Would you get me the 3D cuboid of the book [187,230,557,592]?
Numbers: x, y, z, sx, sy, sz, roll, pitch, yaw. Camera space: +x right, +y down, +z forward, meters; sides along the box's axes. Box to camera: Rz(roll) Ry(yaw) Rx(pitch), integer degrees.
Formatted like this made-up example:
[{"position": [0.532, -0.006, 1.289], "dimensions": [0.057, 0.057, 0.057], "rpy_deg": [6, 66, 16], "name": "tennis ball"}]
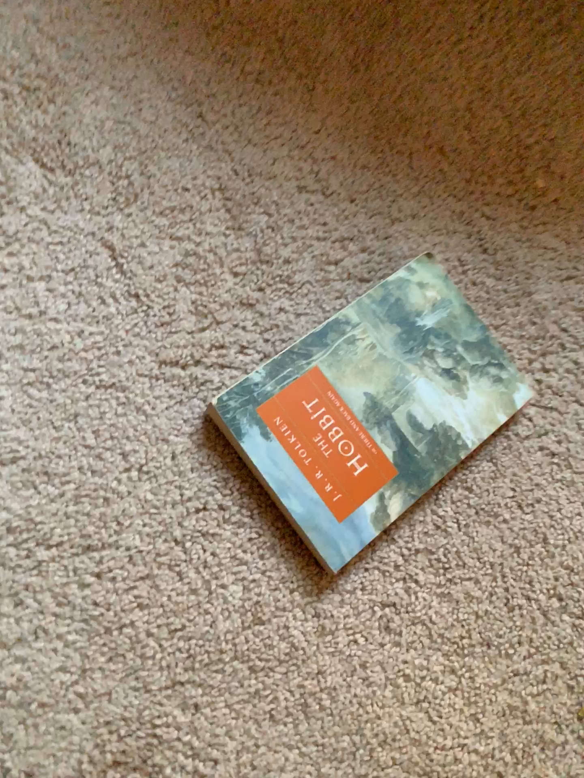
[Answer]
[{"position": [0.060, 0.009, 0.426], "dimensions": [0.220, 0.030, 0.150], "rpy_deg": [-37, 88, -15], "name": "book"}]
